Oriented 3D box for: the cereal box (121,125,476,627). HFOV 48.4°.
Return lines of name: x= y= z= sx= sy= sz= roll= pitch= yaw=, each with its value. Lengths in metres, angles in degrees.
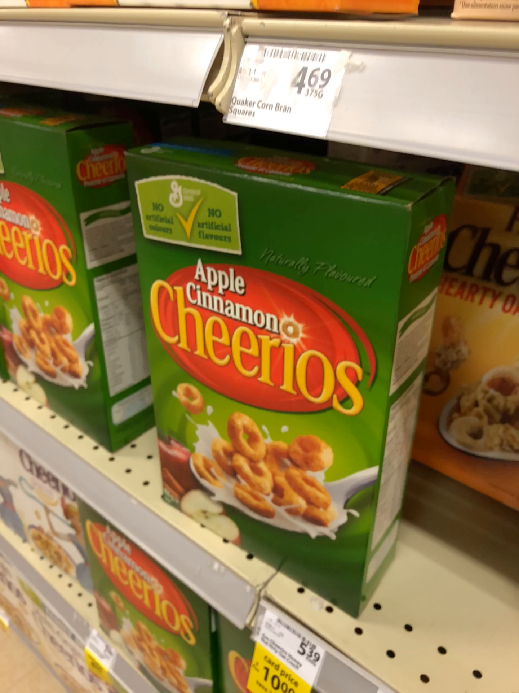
cereal box: x=0.014 y=0.021 z=0.411 sx=0.201 sy=0.308 sz=0.070 roll=20 pitch=35 yaw=31
